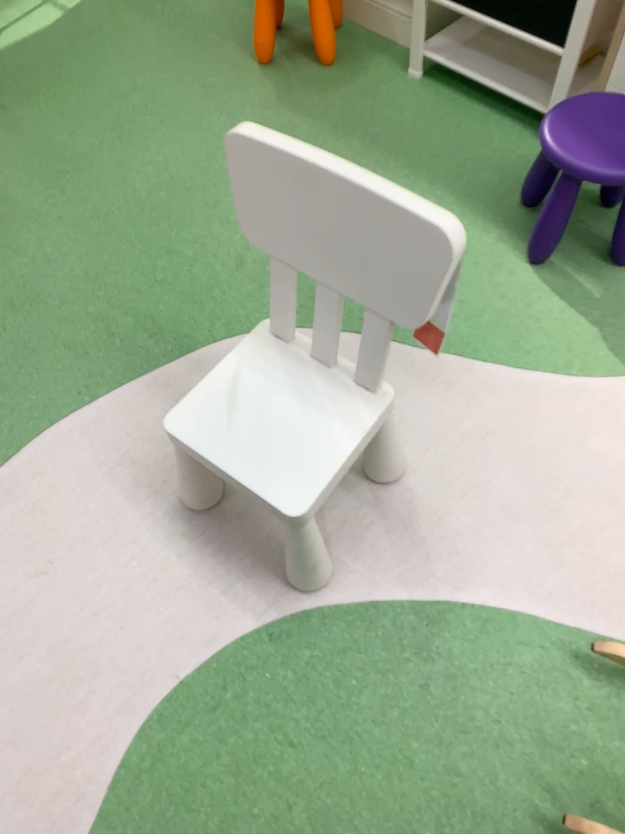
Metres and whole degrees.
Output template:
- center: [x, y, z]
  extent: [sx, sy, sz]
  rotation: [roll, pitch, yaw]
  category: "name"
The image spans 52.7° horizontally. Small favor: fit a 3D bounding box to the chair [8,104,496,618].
- center: [-0.053, -0.052, 1.034]
  extent: [0.421, 0.599, 0.440]
  rotation: [33, 67, 21]
  category: "chair"
